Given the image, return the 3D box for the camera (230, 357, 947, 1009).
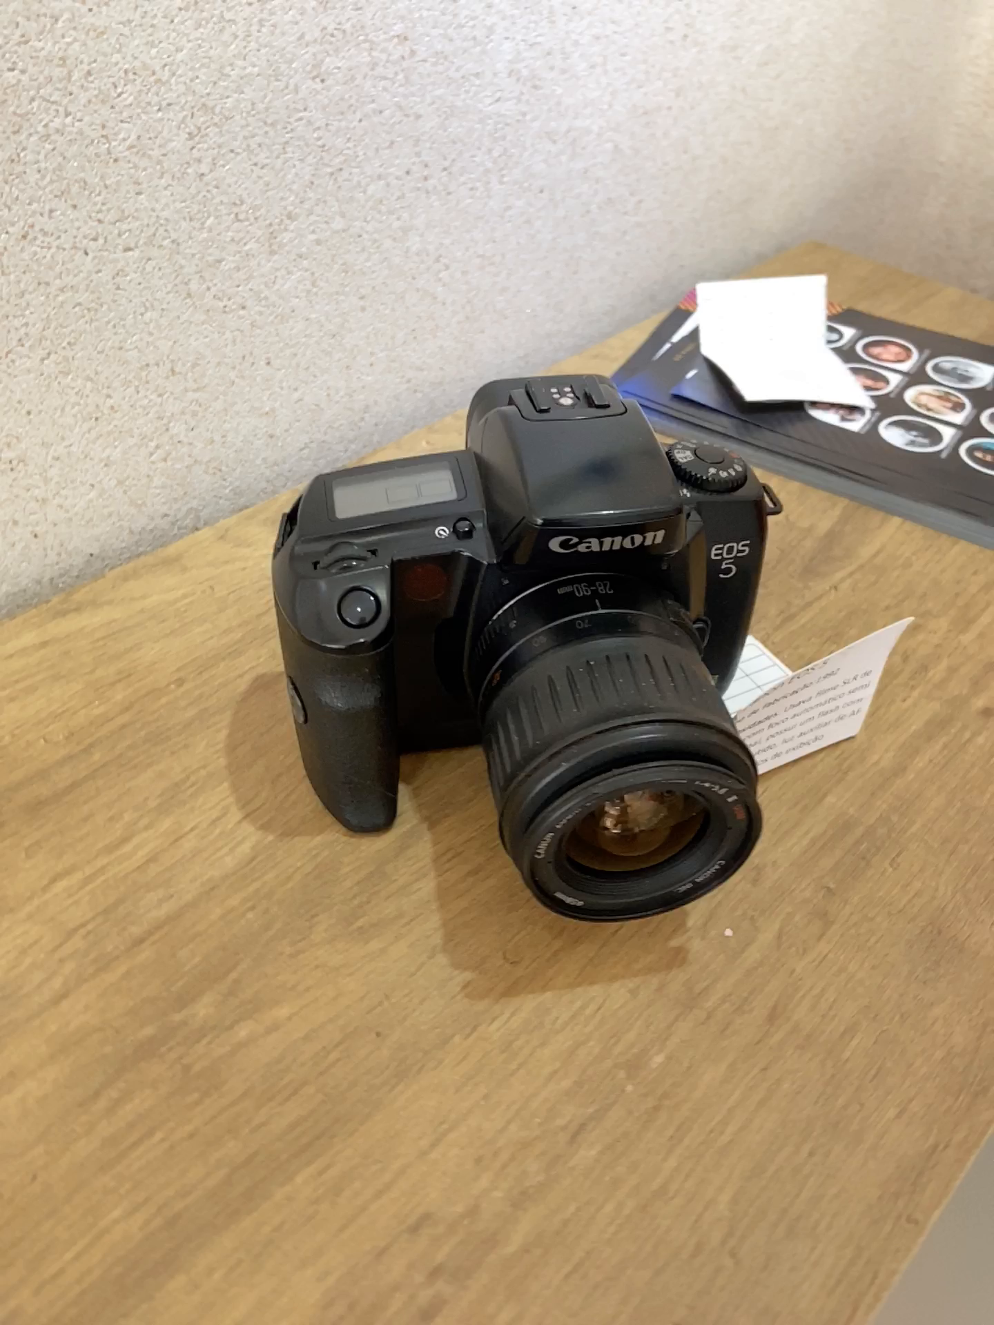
[{"bbox_3d":[0.009,-0.010,0.324,0.160,0.080,0.181,-9,44,-10],"label":"camera"}]
